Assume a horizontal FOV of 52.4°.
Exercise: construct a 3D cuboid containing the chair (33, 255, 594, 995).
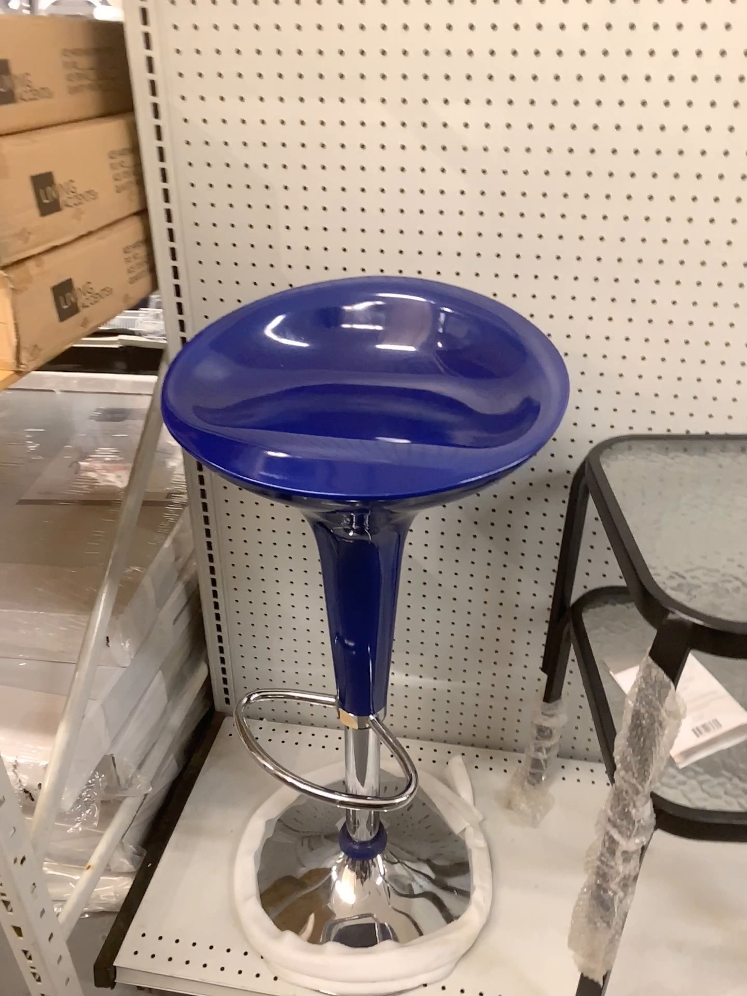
[{"bbox_3d":[-0.025,0.184,0.964,0.434,0.852,0.419,5,30,8],"label":"chair"}]
